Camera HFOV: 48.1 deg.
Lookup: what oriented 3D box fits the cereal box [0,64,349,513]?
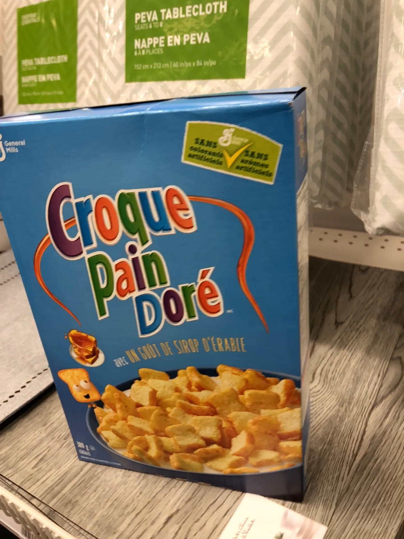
[{"bbox_3d":[-0.015,0.026,0.306,0.210,0.279,0.050,2,26,19],"label":"cereal box"}]
